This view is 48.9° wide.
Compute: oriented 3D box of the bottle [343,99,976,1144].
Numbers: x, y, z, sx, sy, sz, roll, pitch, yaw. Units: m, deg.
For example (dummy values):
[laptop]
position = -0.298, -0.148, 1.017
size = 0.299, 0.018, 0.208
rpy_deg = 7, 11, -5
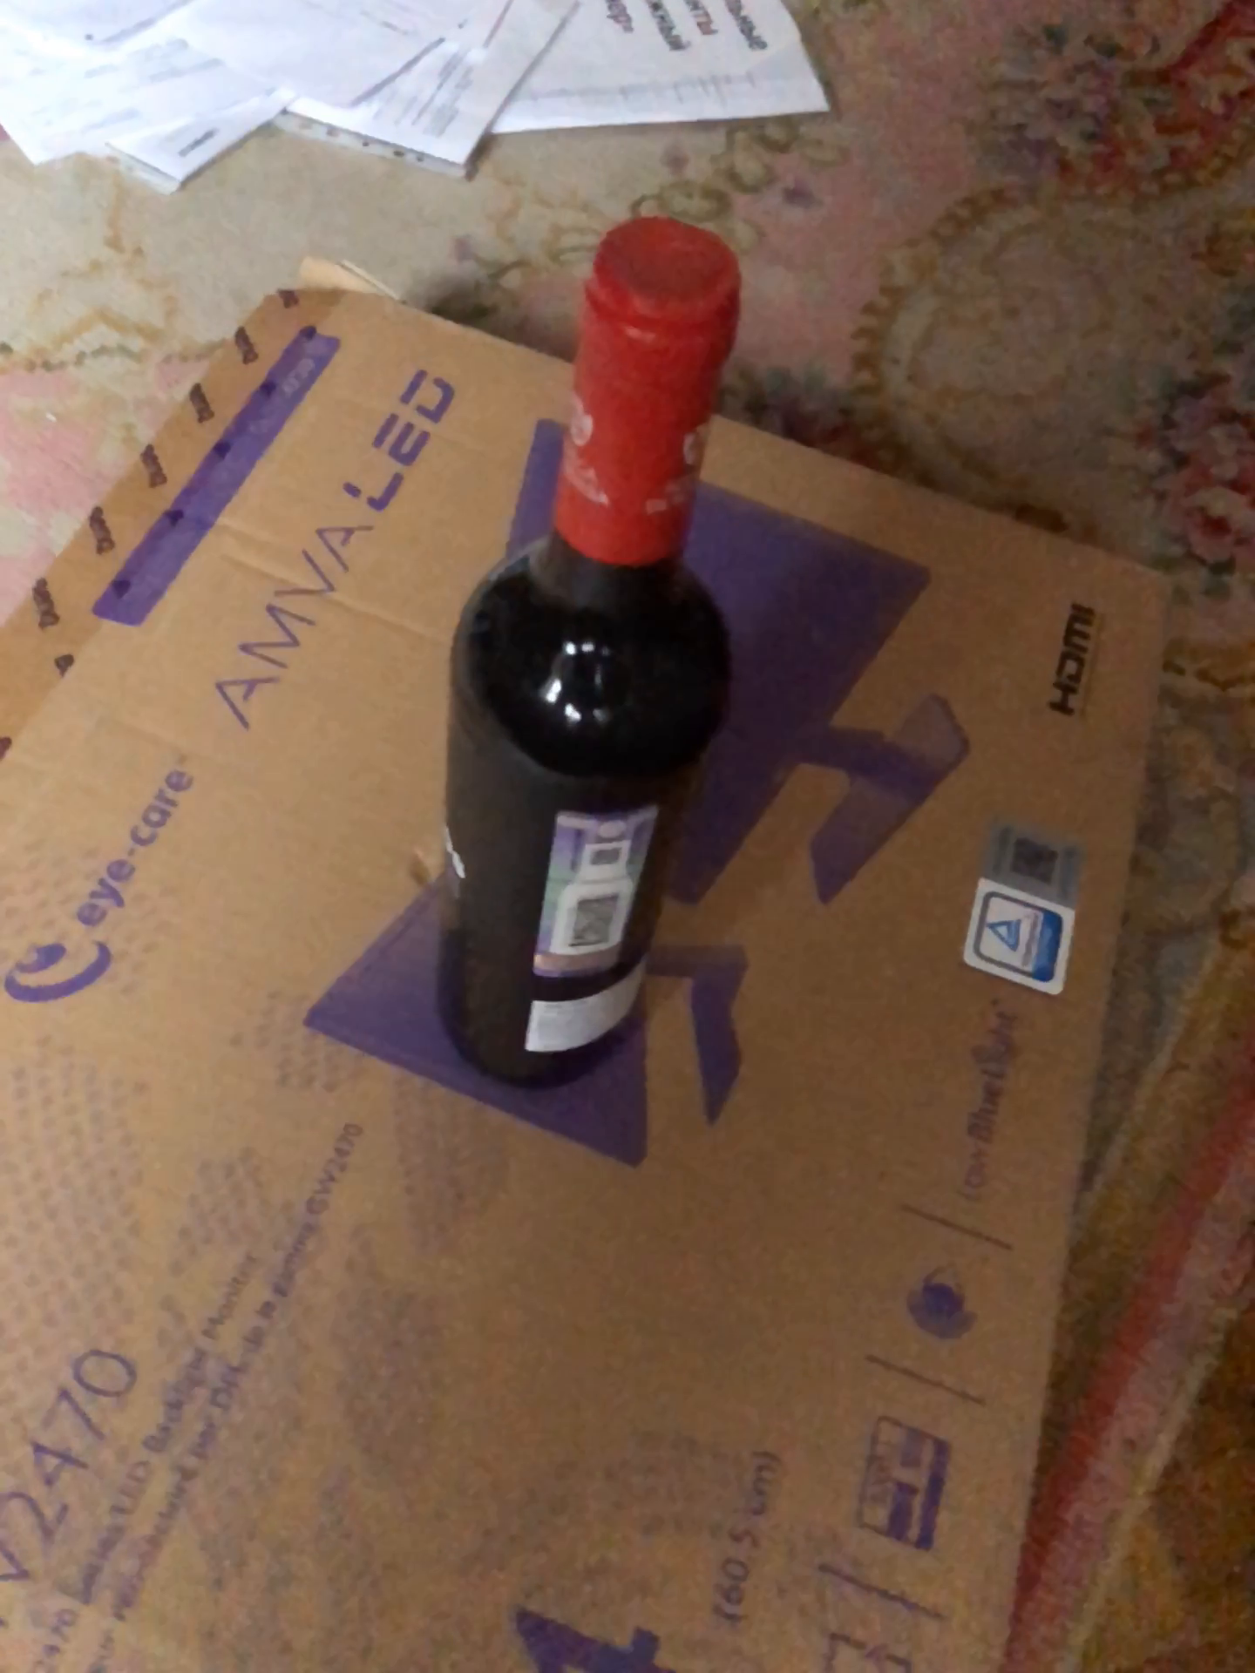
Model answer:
[bottle]
position = -0.012, -0.020, 0.375
size = 0.090, 0.299, 0.090
rpy_deg = 4, 60, -7
